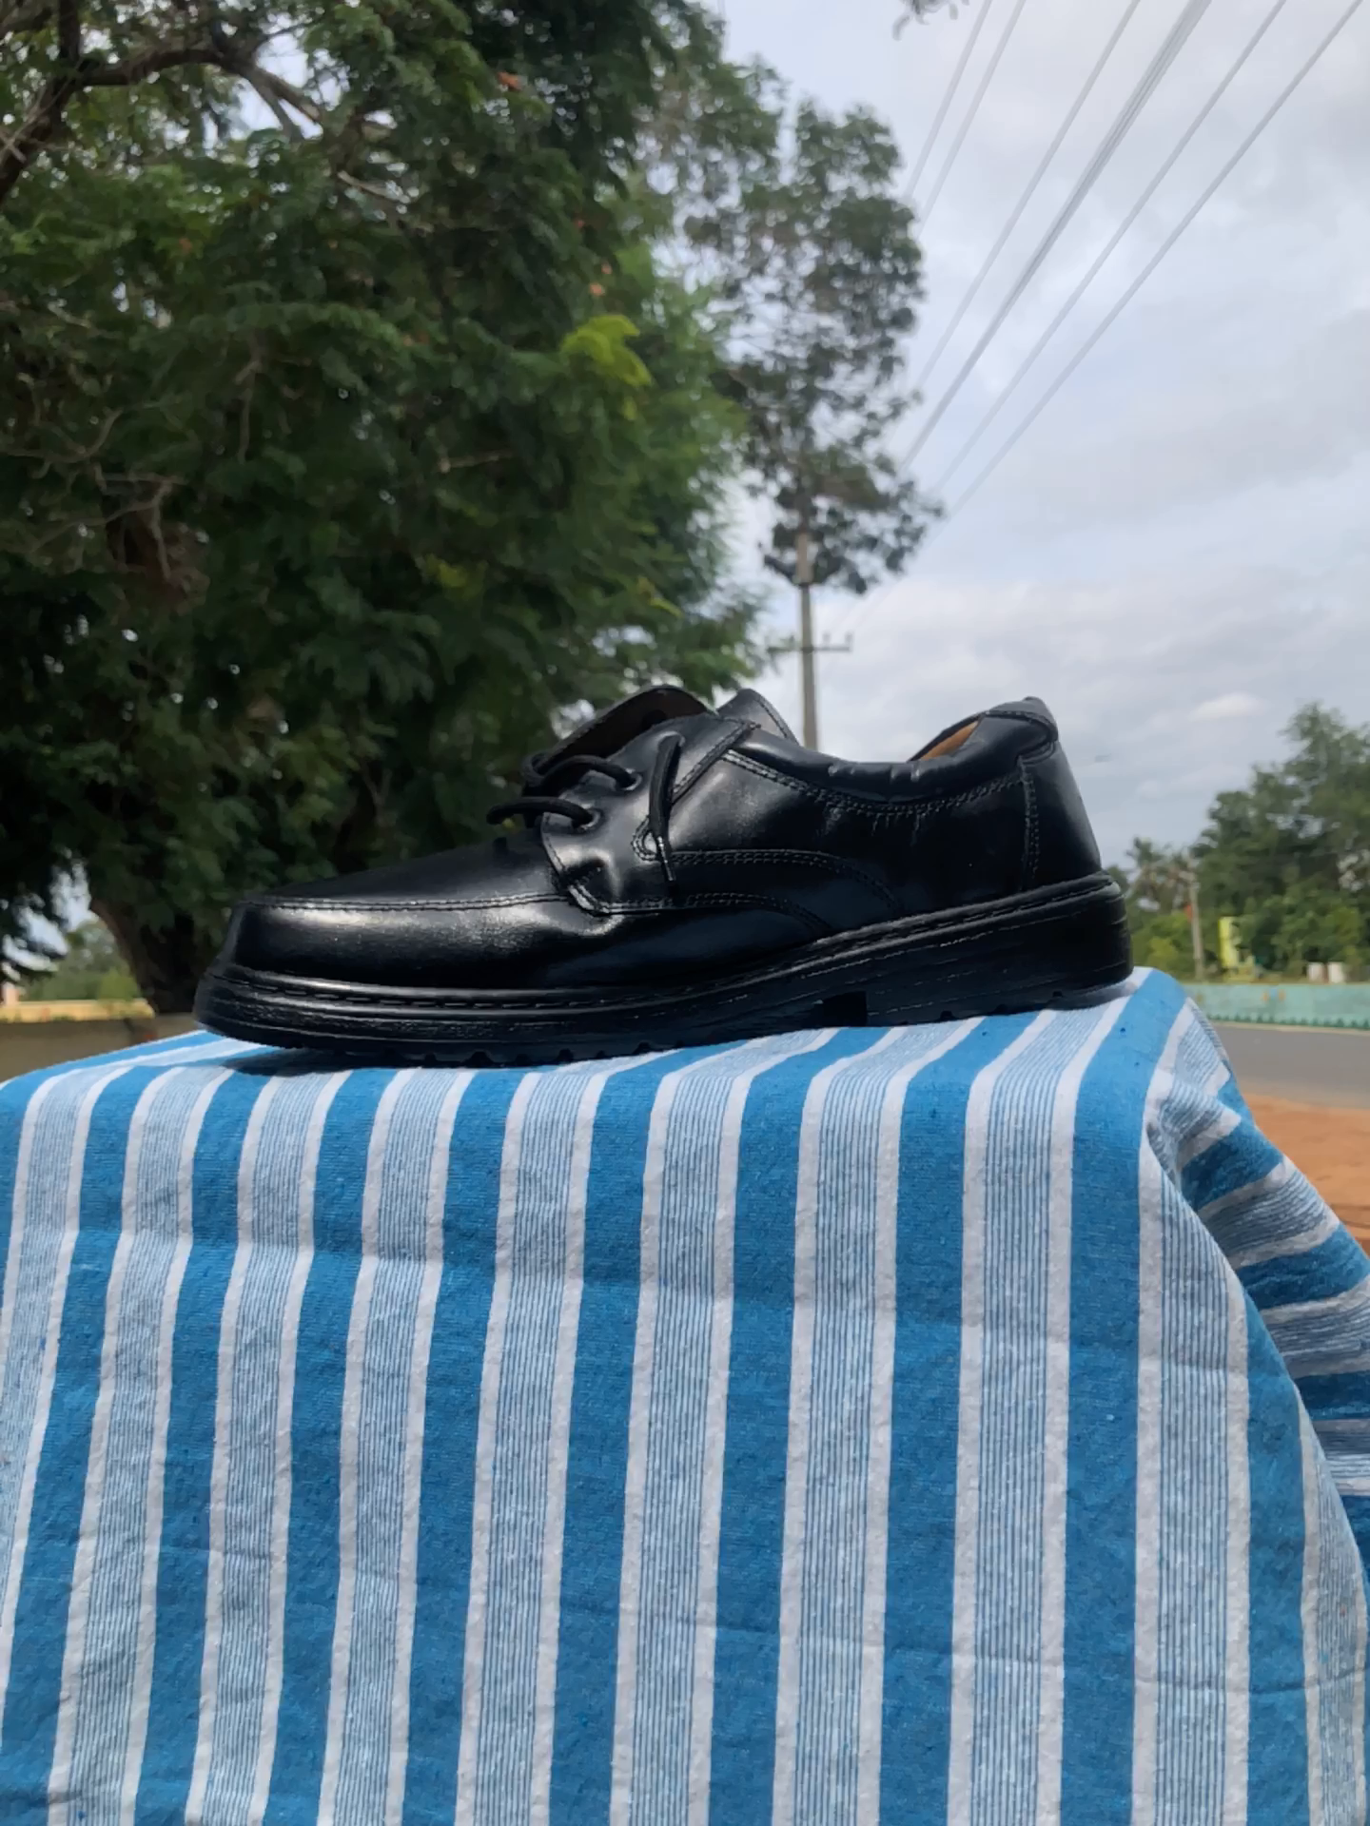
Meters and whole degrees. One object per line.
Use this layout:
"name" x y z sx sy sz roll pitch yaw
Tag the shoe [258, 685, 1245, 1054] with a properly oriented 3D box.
"shoe" 0.018 -0.017 0.492 0.290 0.100 0.110 -1 1 -11
